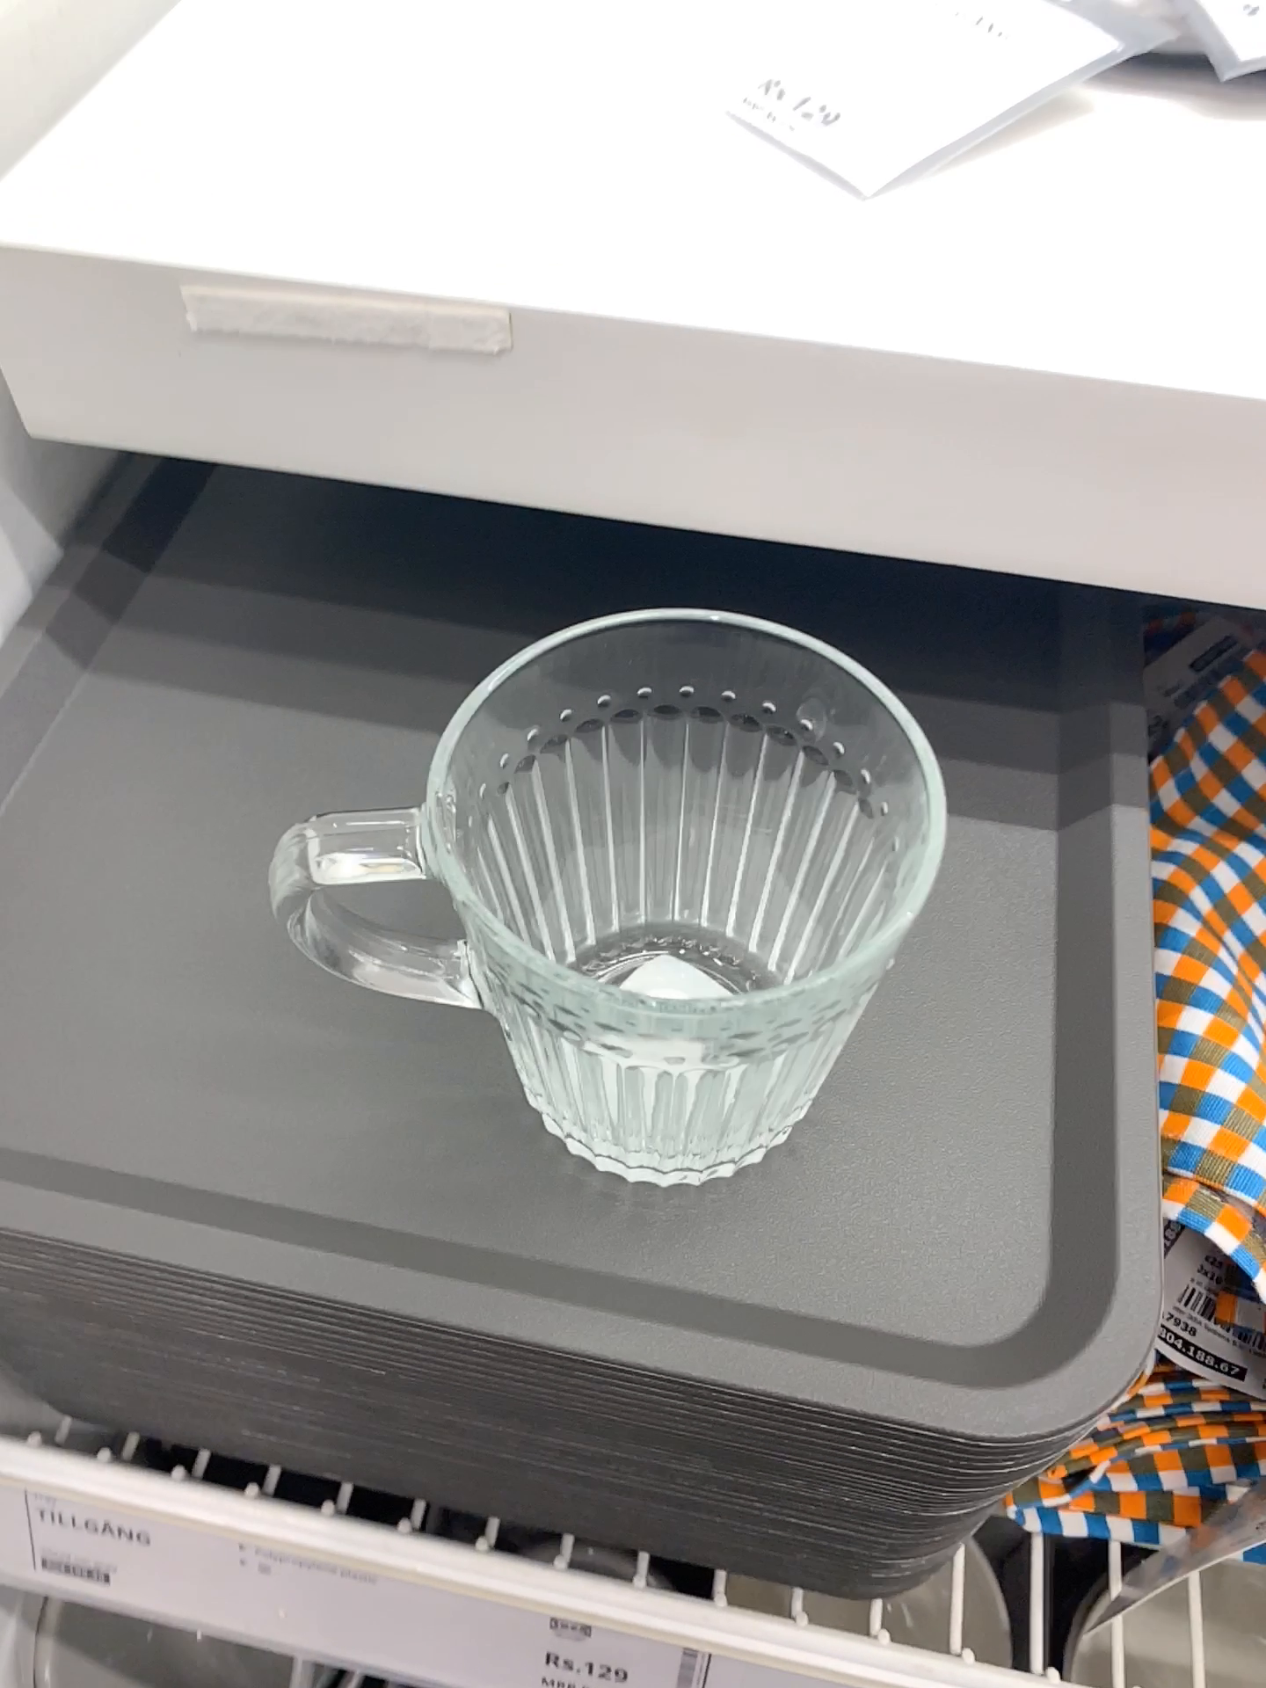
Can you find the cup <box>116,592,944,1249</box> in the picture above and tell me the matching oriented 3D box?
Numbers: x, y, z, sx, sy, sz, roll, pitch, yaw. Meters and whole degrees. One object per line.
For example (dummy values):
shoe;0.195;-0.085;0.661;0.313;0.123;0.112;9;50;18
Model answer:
cup;-0.013;0.015;0.230;0.110;0.080;0.080;2;52;0
